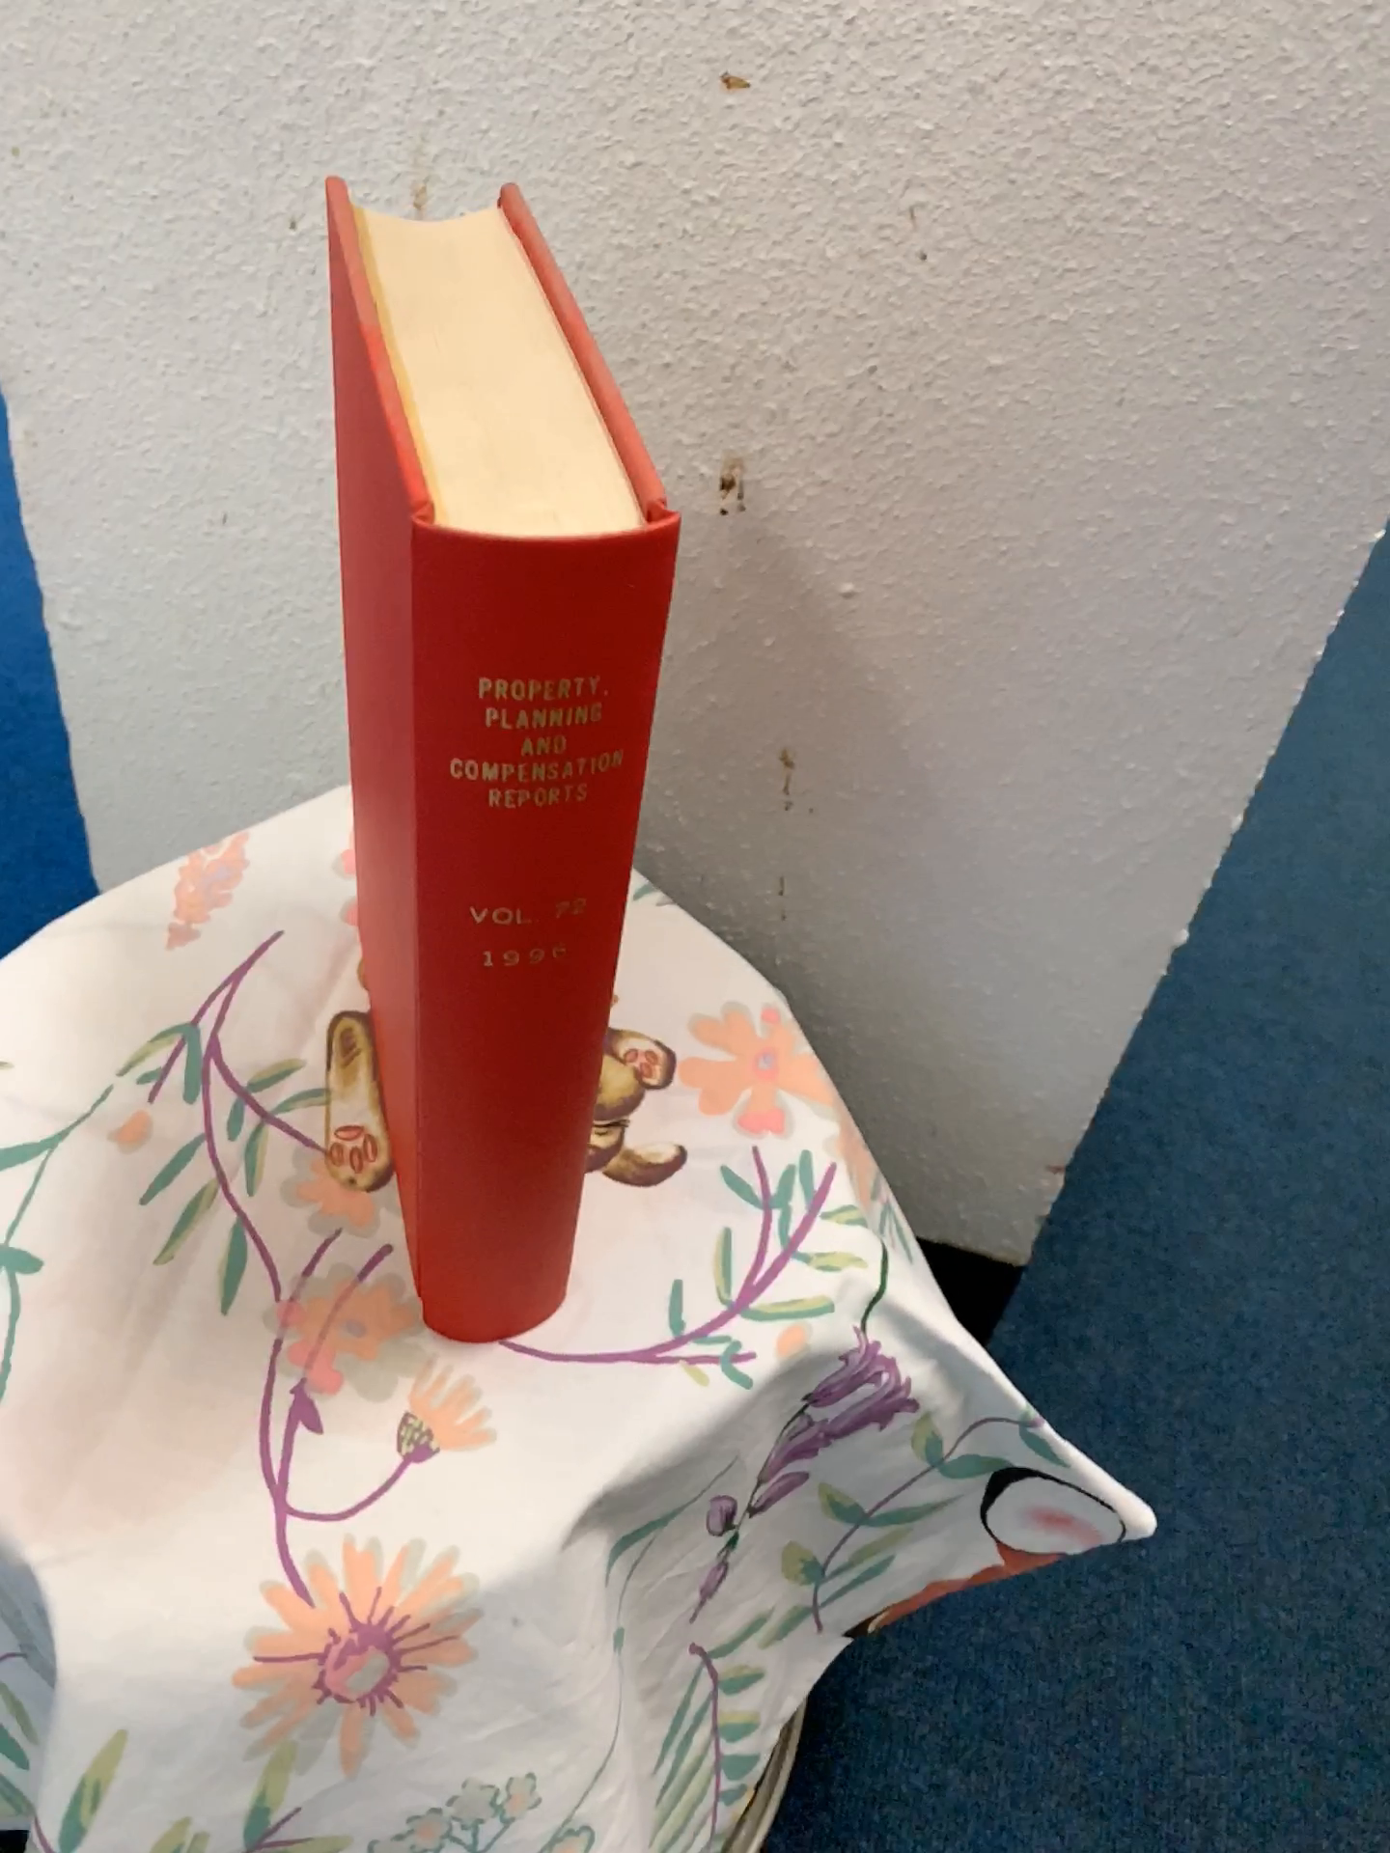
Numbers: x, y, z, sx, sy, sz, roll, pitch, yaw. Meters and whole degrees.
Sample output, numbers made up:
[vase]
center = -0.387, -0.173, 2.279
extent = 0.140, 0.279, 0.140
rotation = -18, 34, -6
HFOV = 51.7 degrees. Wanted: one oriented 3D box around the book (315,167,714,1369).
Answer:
[book]
center = -0.056, -0.031, 0.364
extent = 0.050, 0.245, 0.170
rotation = -6, 45, -15
